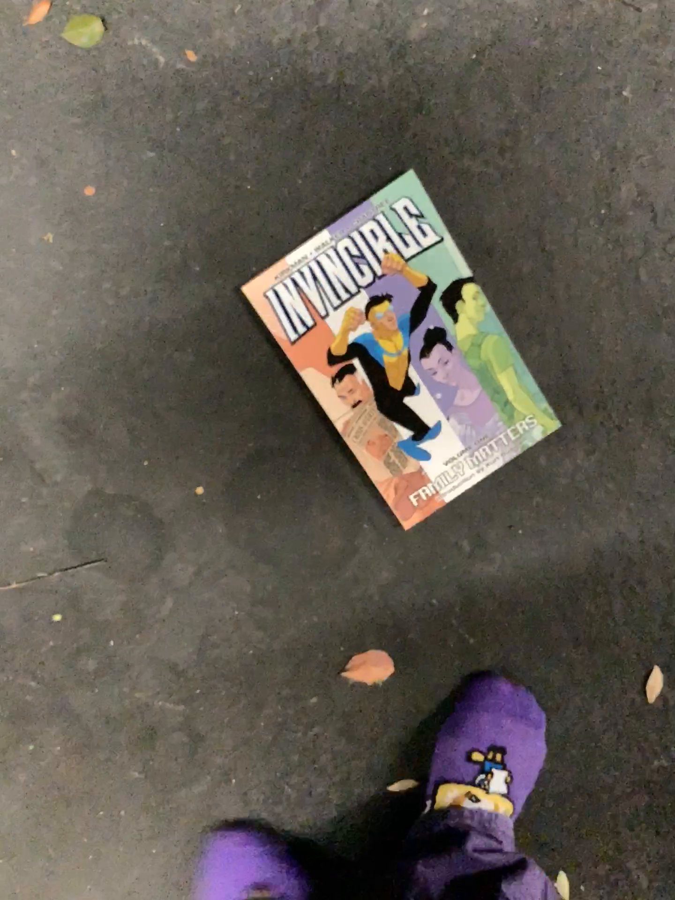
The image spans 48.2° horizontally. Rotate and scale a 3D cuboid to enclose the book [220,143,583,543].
[{"bbox_3d":[0.058,-0.081,0.628,0.180,0.020,0.270,-36,102,1],"label":"book"}]
